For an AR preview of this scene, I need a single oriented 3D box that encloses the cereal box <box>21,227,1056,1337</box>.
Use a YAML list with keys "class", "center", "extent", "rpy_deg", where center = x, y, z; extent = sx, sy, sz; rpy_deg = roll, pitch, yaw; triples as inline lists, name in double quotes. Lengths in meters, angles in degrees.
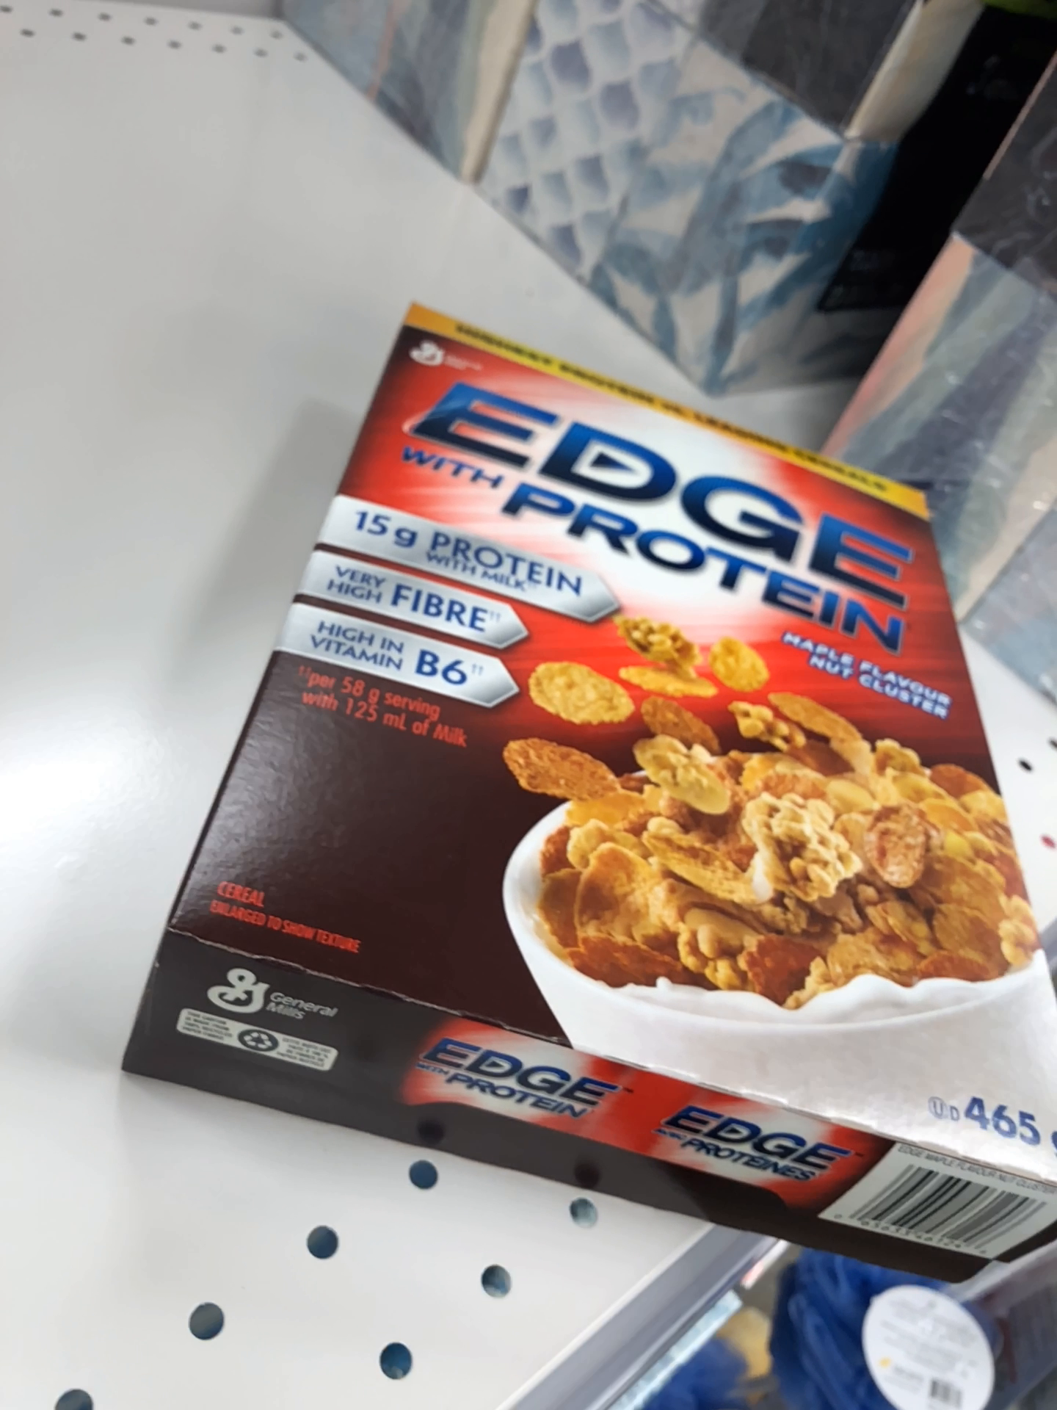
- class: "cereal box"
  center: [0.034, -0.009, 0.313]
  extent: [0.220, 0.050, 0.271]
  rpy_deg: [18, 42, -10]
